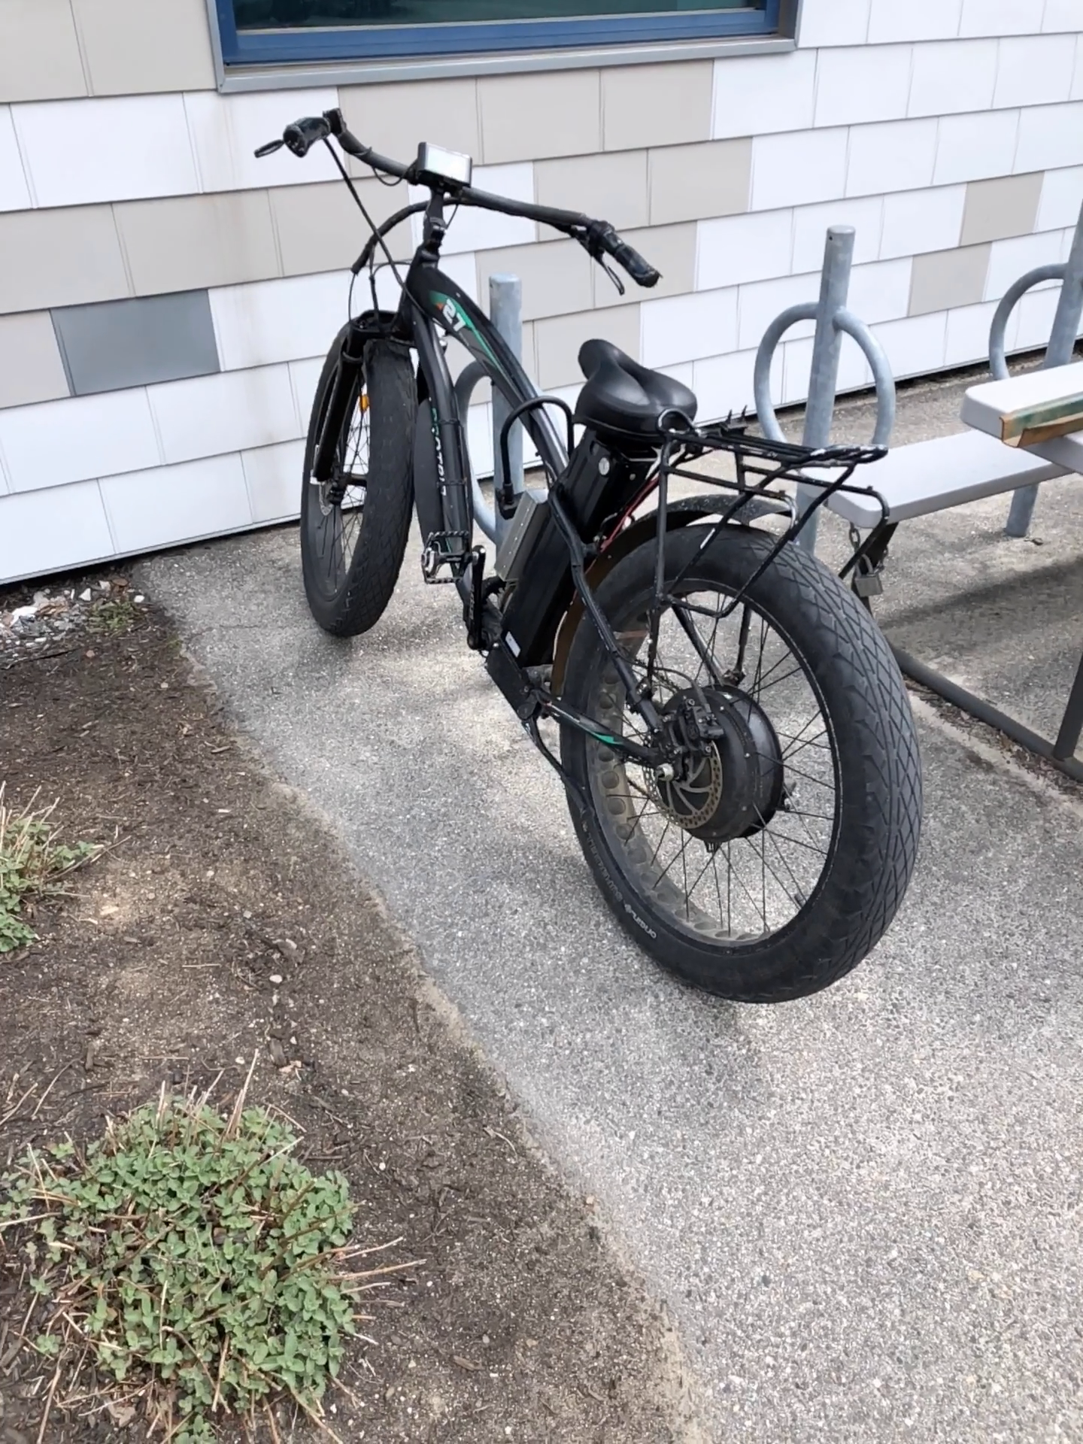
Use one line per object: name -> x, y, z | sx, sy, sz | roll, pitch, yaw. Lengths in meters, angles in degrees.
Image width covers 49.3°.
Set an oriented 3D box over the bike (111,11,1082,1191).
bike -> 0.058, -0.463, 2.112 | 0.913, 1.131, 1.866 | -19, 42, -25
